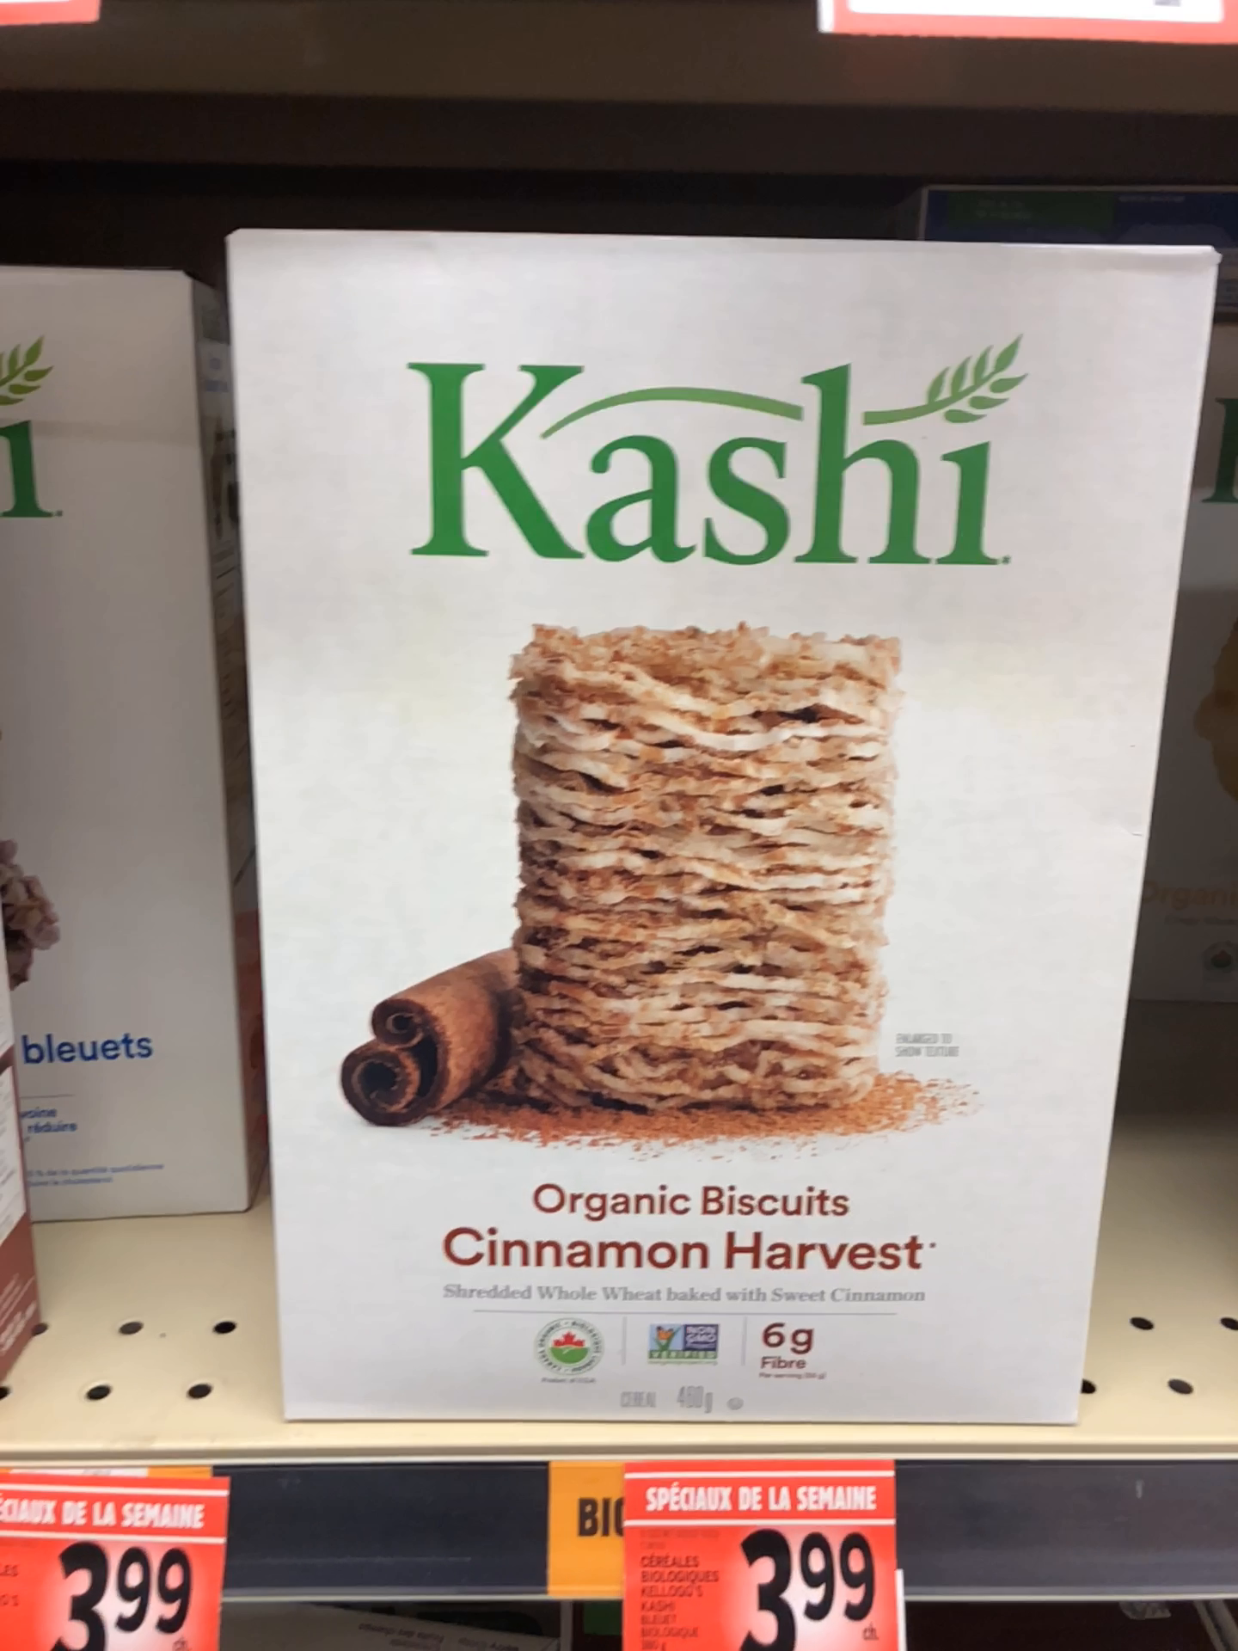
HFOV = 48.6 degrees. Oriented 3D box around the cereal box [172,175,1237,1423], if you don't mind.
[{"bbox_3d":[0.018,0.002,0.320,0.200,0.268,0.070,1,17,0],"label":"cereal box"}]
